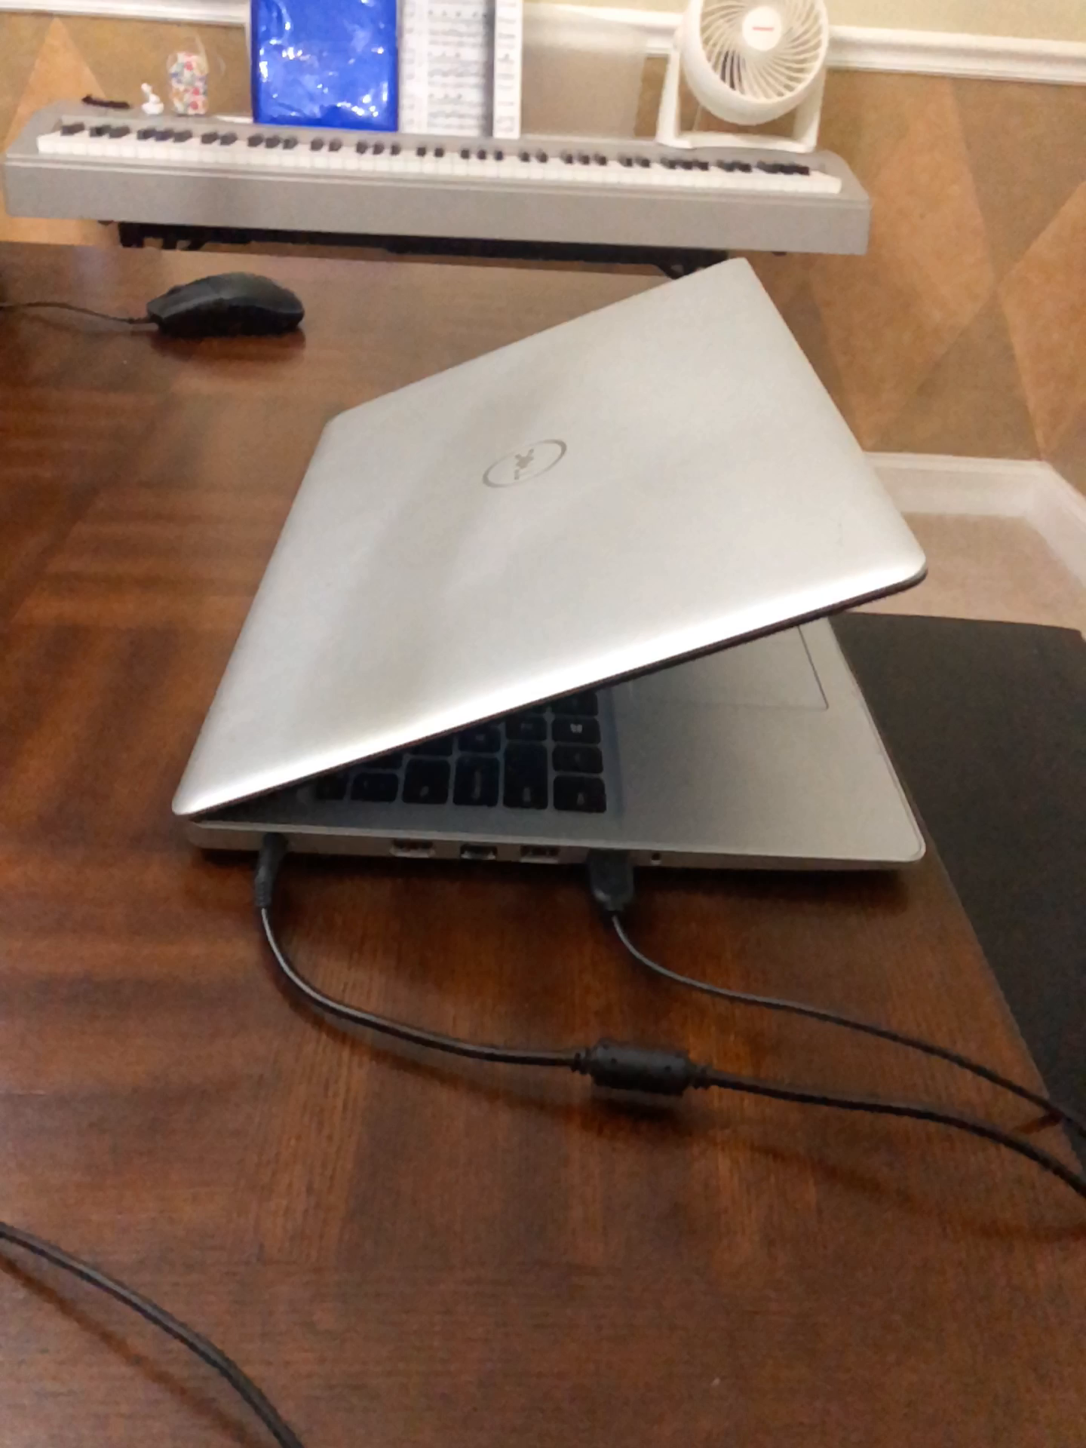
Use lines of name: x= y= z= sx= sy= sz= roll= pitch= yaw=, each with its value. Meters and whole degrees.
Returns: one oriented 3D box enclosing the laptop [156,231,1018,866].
laptop: x=0.012 y=-0.107 z=0.523 sx=0.249 sy=0.103 sz=0.370 roll=4 pitch=34 yaw=-4
